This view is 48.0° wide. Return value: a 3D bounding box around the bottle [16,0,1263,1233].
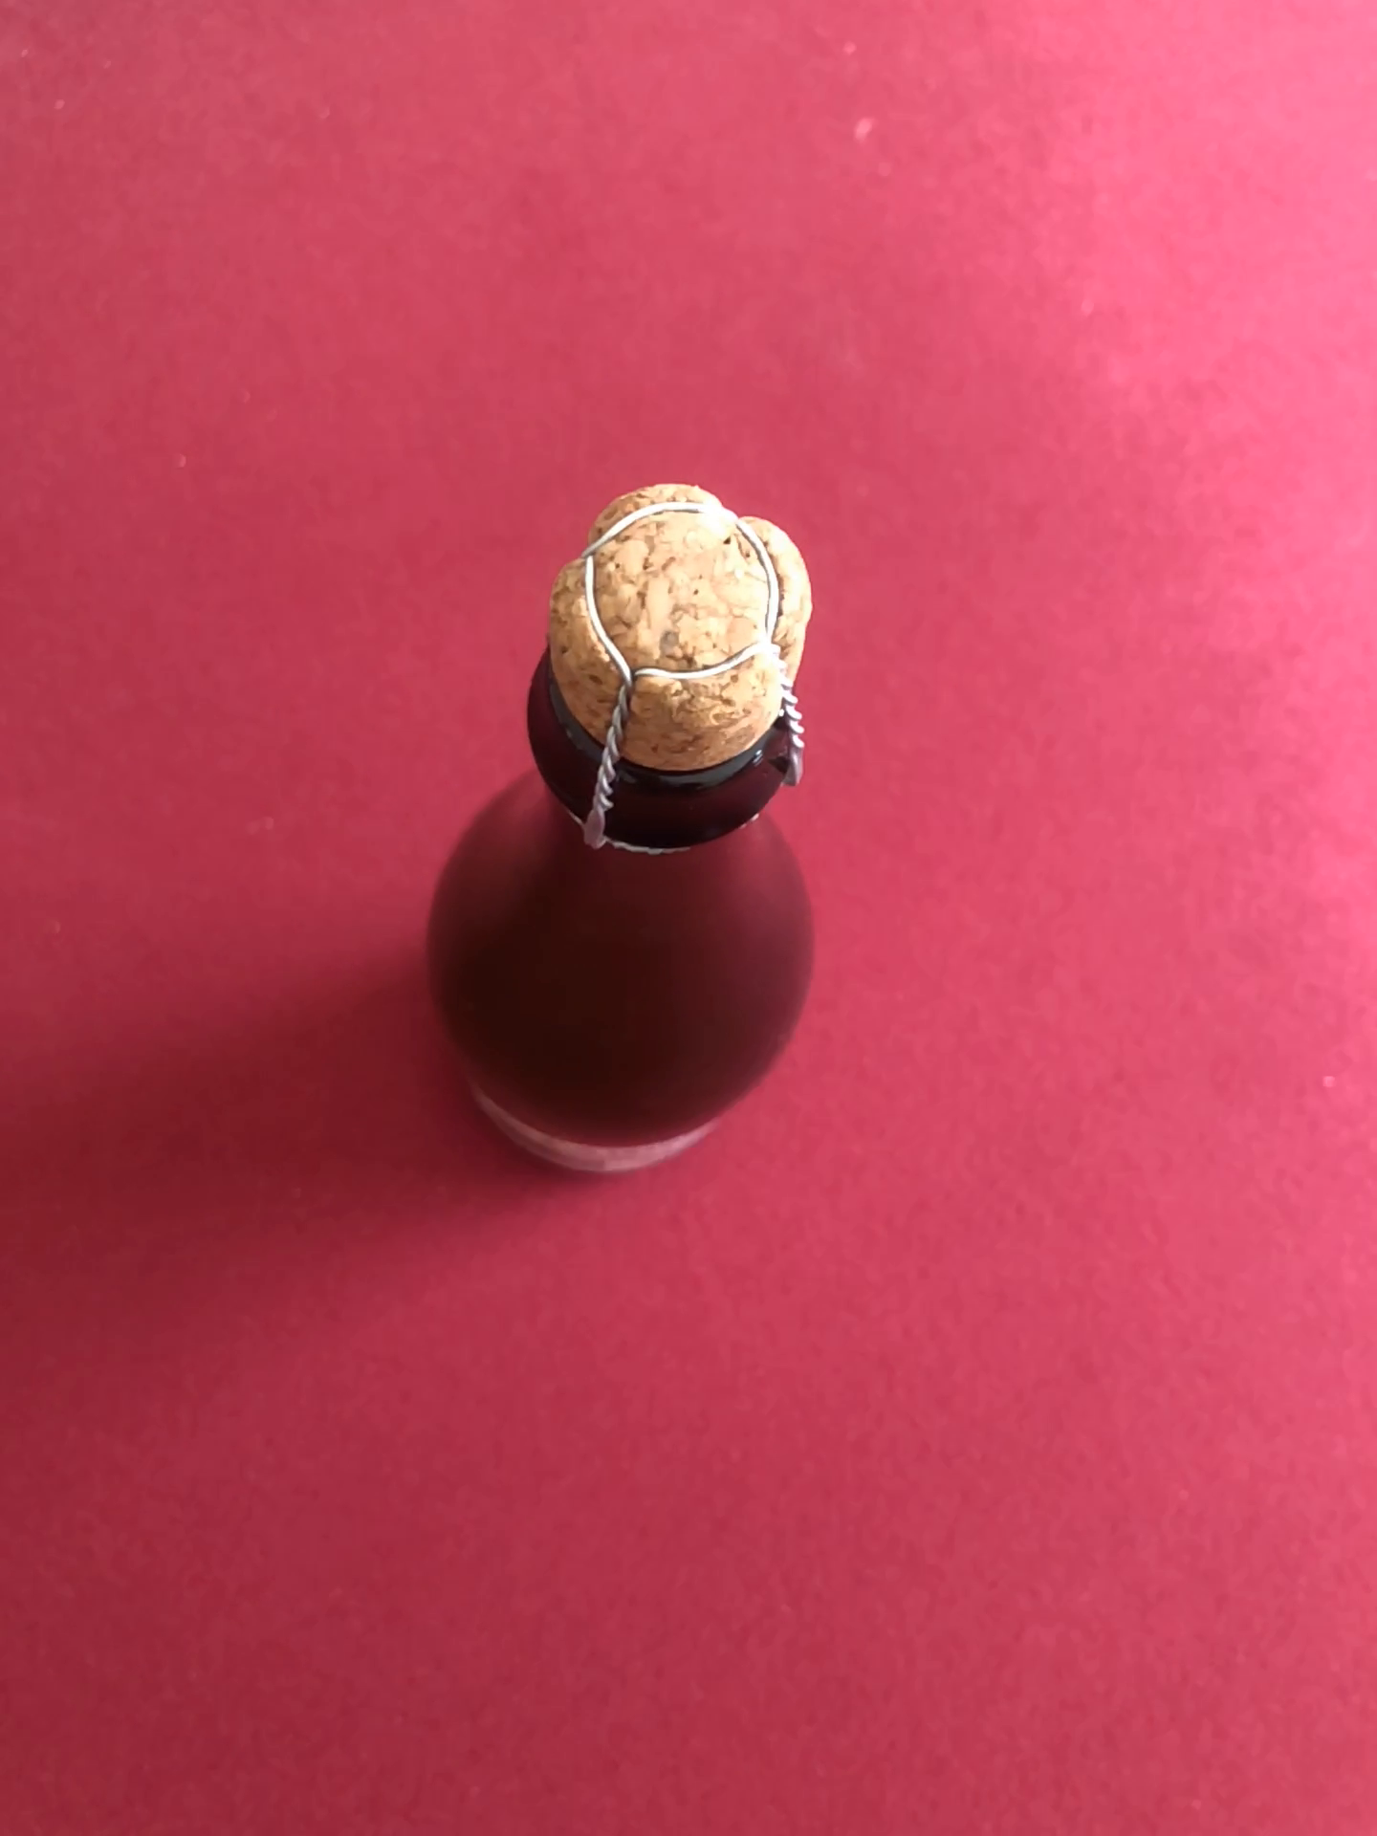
[{"bbox_3d":[-0.012,-0.006,0.294,0.090,0.300,0.100,21,77,0],"label":"bottle"}]
